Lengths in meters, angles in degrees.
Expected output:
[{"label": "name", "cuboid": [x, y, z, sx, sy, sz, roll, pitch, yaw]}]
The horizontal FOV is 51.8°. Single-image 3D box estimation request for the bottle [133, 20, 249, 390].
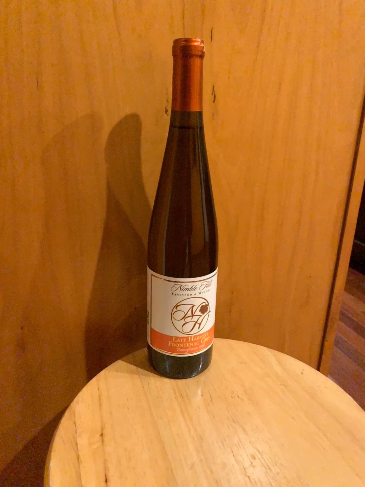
[{"label": "bottle", "cuboid": [0.000, -0.020, 0.366, 0.080, 0.329, 0.060, -5, 20, -20]}]
